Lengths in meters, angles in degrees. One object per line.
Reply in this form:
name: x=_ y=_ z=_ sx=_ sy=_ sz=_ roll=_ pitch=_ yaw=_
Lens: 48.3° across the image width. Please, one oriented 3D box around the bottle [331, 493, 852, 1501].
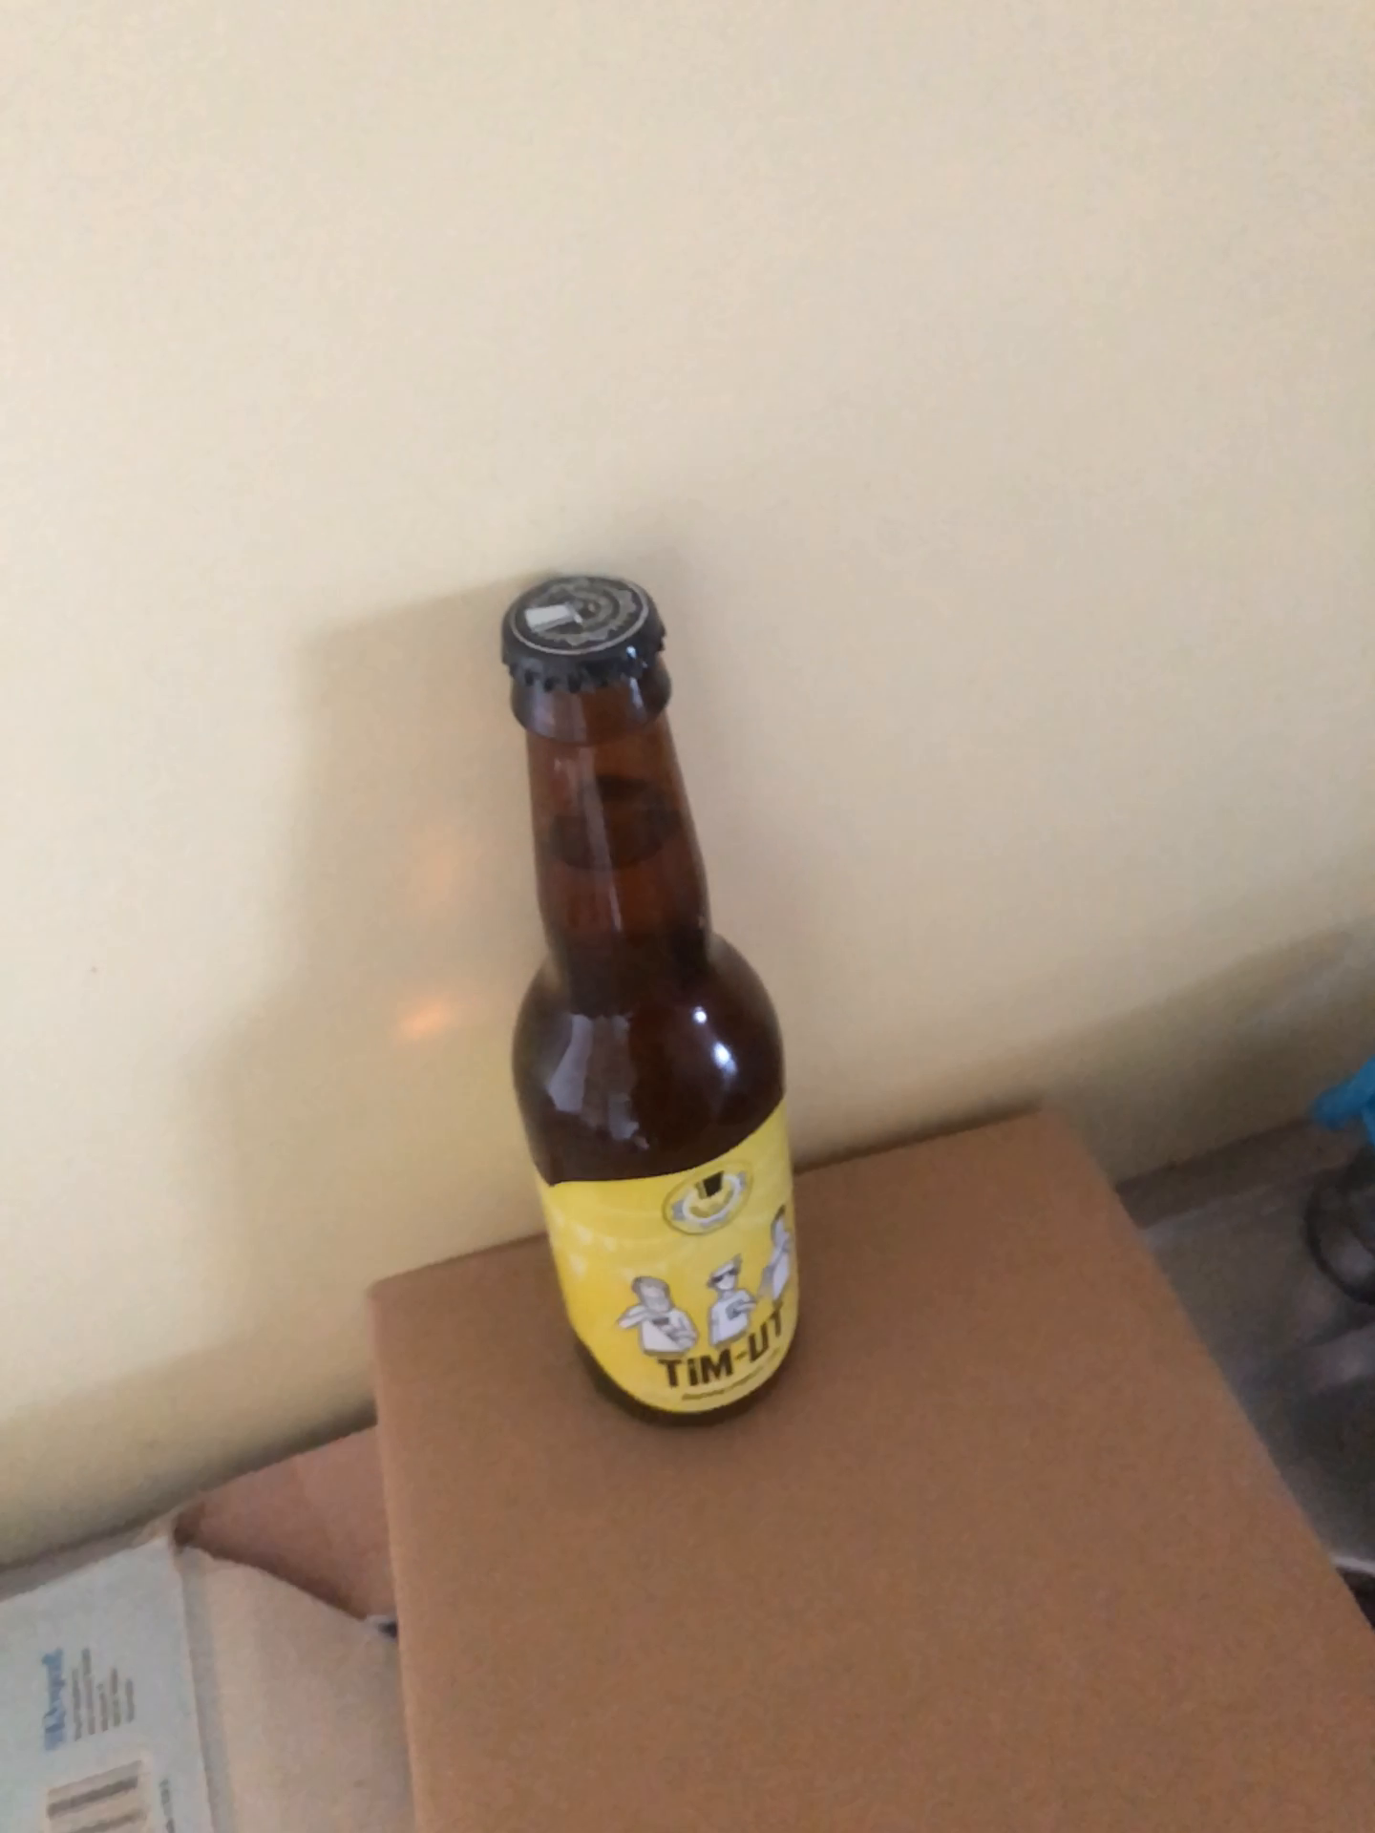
bottle: x=-0.010 y=0.034 z=0.330 sx=0.060 sy=0.229 sz=0.060 roll=-5 pitch=43 yaw=5
